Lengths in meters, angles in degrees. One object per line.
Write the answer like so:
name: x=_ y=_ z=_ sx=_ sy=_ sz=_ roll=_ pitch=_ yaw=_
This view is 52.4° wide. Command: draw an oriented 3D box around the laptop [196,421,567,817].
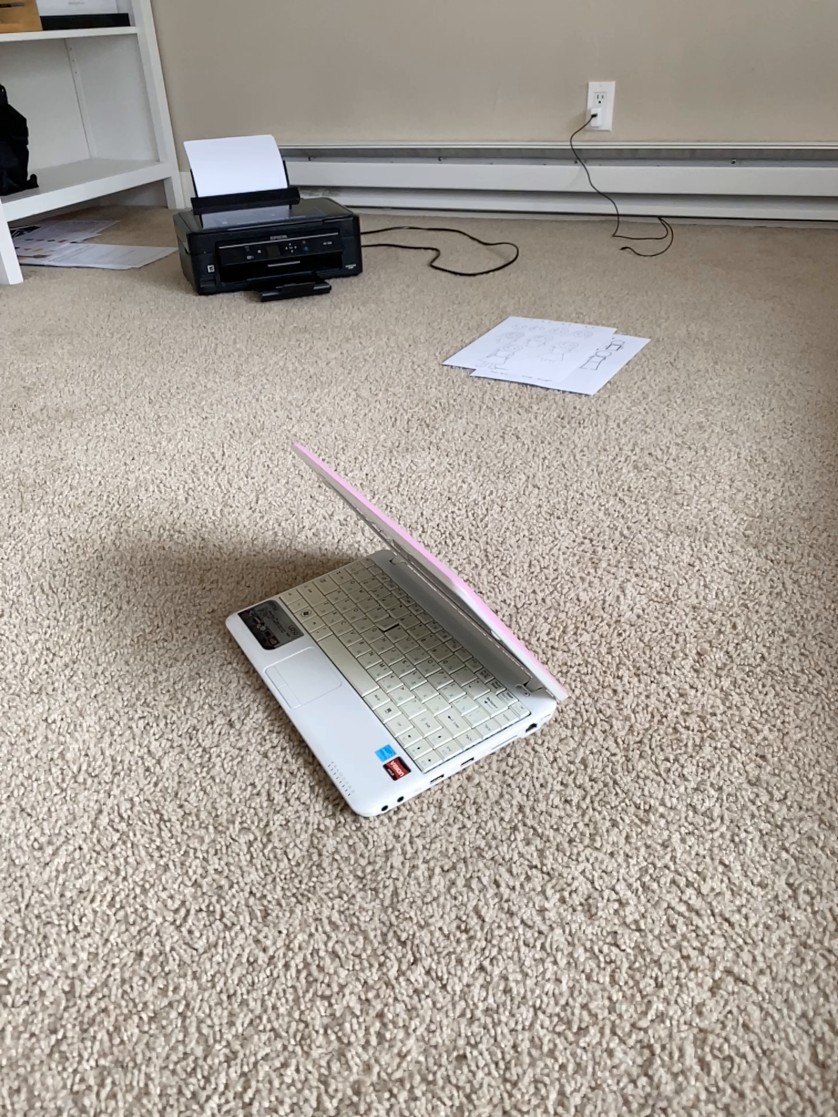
laptop: x=-0.042 y=0.028 z=0.727 sx=0.188 sy=0.147 sz=0.287 roll=-22 pitch=37 yaw=-23
